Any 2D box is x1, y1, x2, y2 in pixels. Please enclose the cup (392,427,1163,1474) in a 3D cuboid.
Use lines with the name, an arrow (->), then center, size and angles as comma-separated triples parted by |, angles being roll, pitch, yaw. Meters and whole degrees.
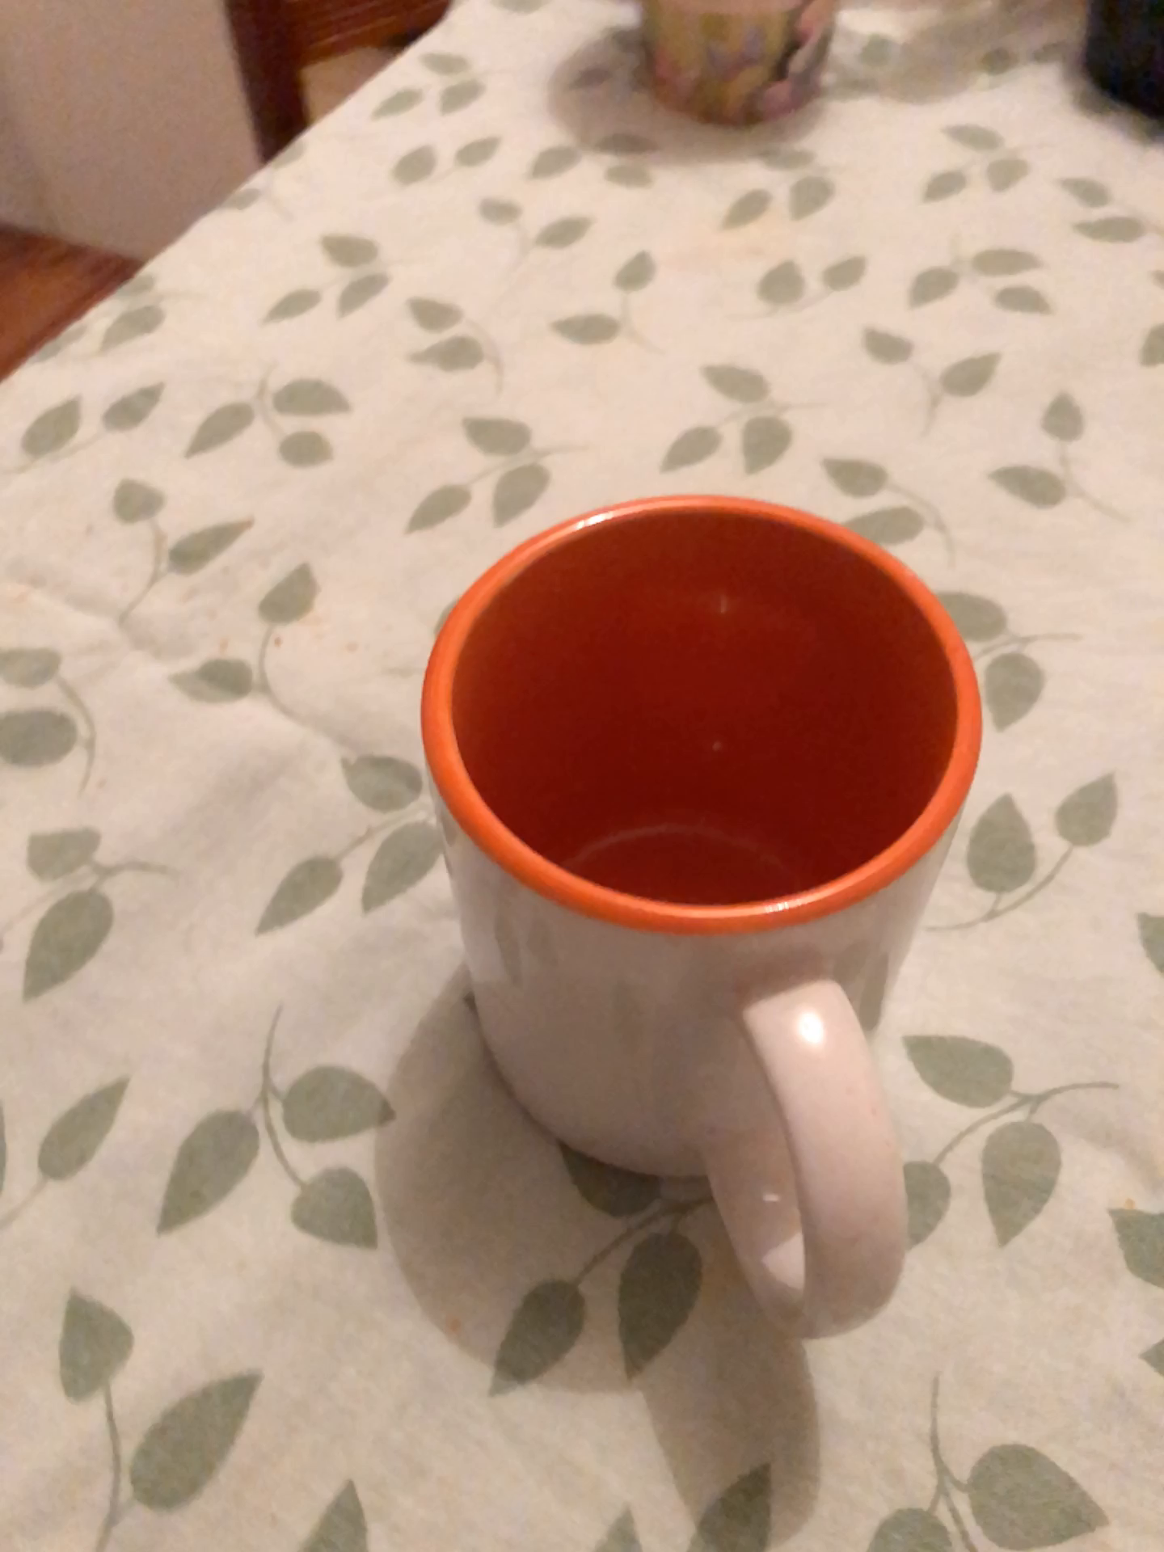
cup -> 0.023, 0.028, 0.208 | 0.080, 0.099, 0.121 | -10, 55, -7
